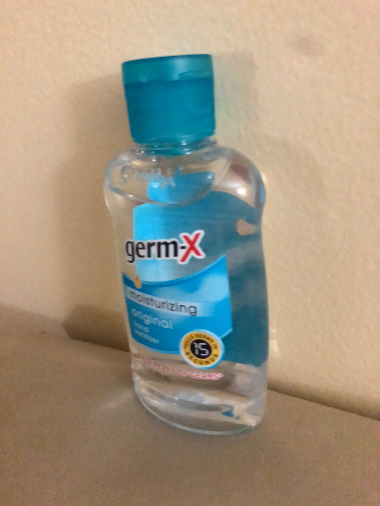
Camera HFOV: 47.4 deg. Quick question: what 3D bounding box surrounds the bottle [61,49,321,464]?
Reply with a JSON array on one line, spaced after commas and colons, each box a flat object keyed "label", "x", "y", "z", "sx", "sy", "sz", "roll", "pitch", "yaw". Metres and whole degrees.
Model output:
[{"label": "bottle", "x": 0.002, "y": 0.001, "z": 0.131, "sx": 0.060, "sy": 0.110, "sz": 0.030, "roll": 9, "pitch": 24, "yaw": 26}]
